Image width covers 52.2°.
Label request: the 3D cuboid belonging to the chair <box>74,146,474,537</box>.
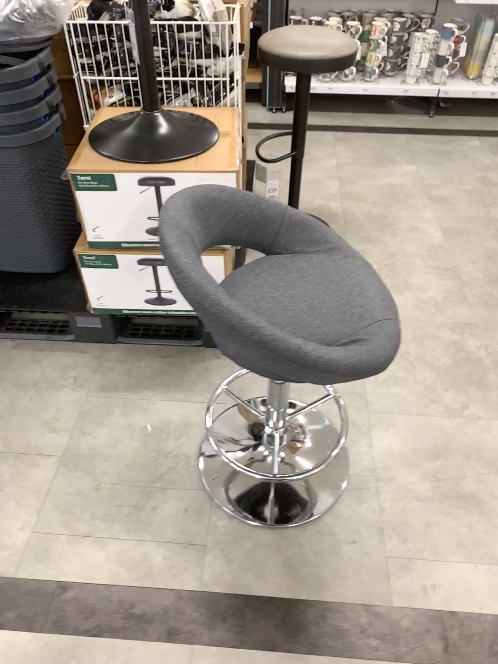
[{"bbox_3d":[0.019,0.019,1.182,0.592,0.663,0.578,-3,43,-4],"label":"chair"}]
